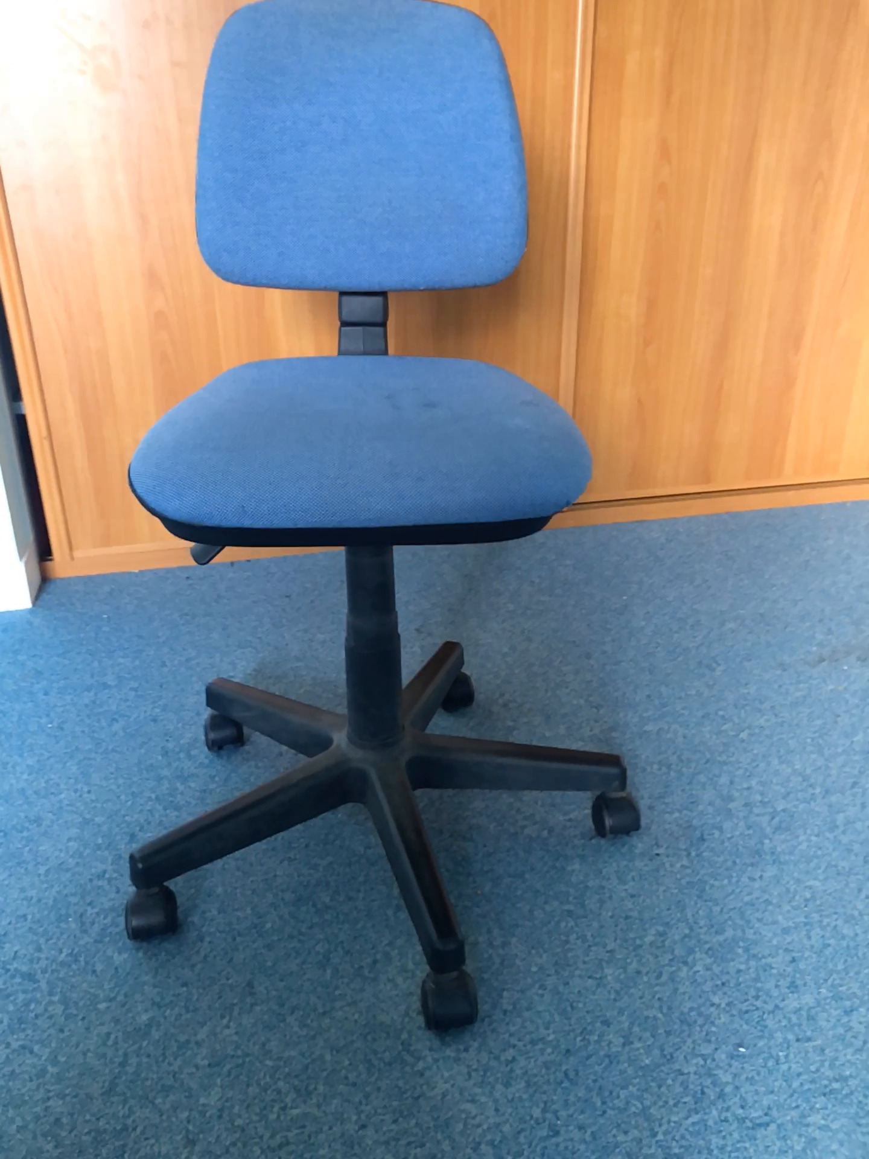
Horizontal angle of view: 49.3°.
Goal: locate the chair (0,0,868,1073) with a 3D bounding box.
[{"bbox_3d":[-0.059,-0.140,1.039,0.650,0.915,0.764,-2,25,-4],"label":"chair"}]
